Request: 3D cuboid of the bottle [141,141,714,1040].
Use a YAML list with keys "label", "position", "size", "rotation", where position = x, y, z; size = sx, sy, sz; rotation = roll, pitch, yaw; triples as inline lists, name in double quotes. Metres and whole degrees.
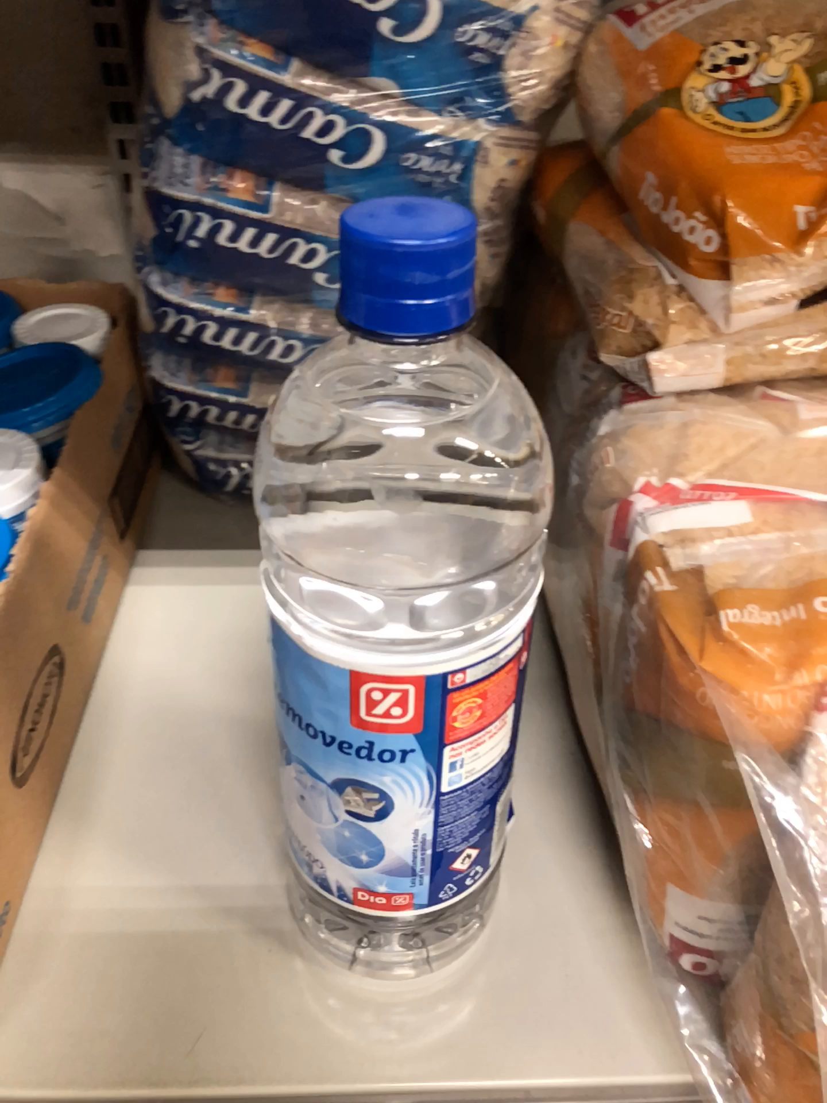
- label: "bottle"
  position: [-0.001, 0.031, 0.273]
  size: [0.090, 0.258, 0.080]
  rotation: [-21, 45, -23]
